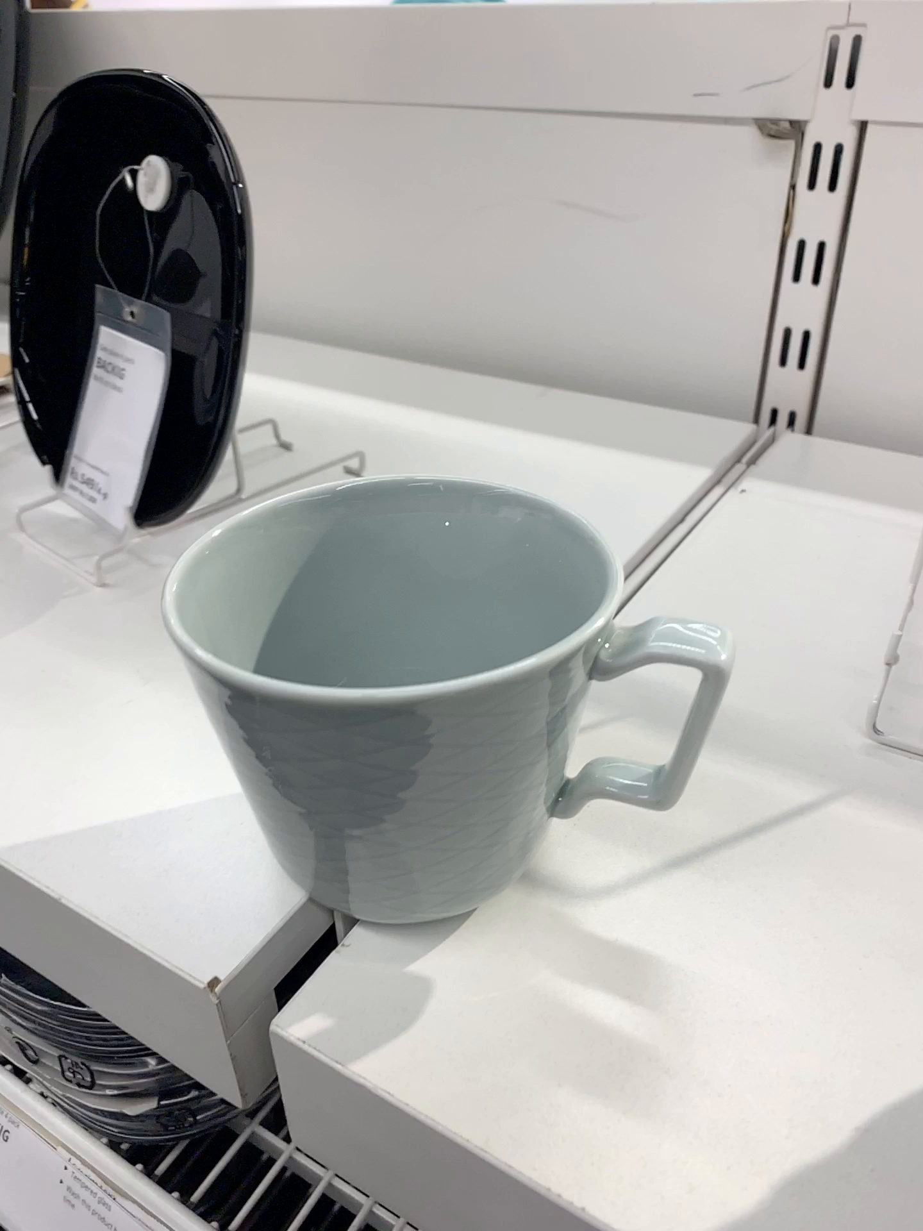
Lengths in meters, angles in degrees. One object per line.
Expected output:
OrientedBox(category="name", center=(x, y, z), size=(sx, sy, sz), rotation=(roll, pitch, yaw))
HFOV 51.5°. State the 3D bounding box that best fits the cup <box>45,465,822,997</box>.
OrientedBox(category="cup", center=(-0.003, 0.019, 0.220), size=(0.130, 0.070, 0.100), rotation=(2, 31, 3))
